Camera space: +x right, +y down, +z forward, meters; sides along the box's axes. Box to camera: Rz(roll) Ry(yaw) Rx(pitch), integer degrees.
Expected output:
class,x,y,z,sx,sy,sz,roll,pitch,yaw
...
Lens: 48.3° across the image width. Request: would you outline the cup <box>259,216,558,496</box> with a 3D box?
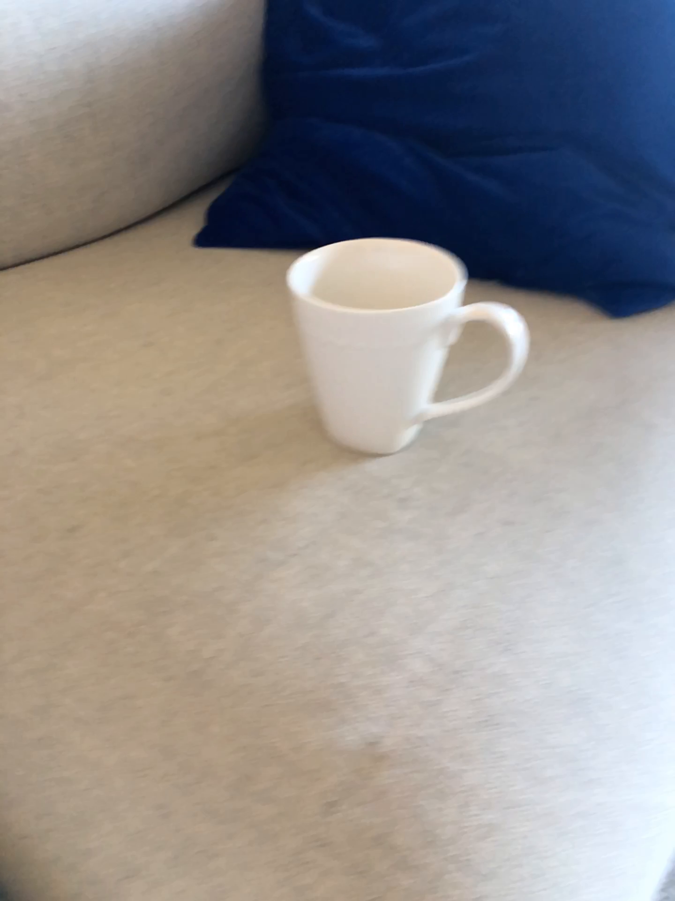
class,x,y,z,sx,sy,sz,roll,pitch,yaw
cup,0.037,-0.060,0.435,0.130,0.090,0.100,24,42,23
